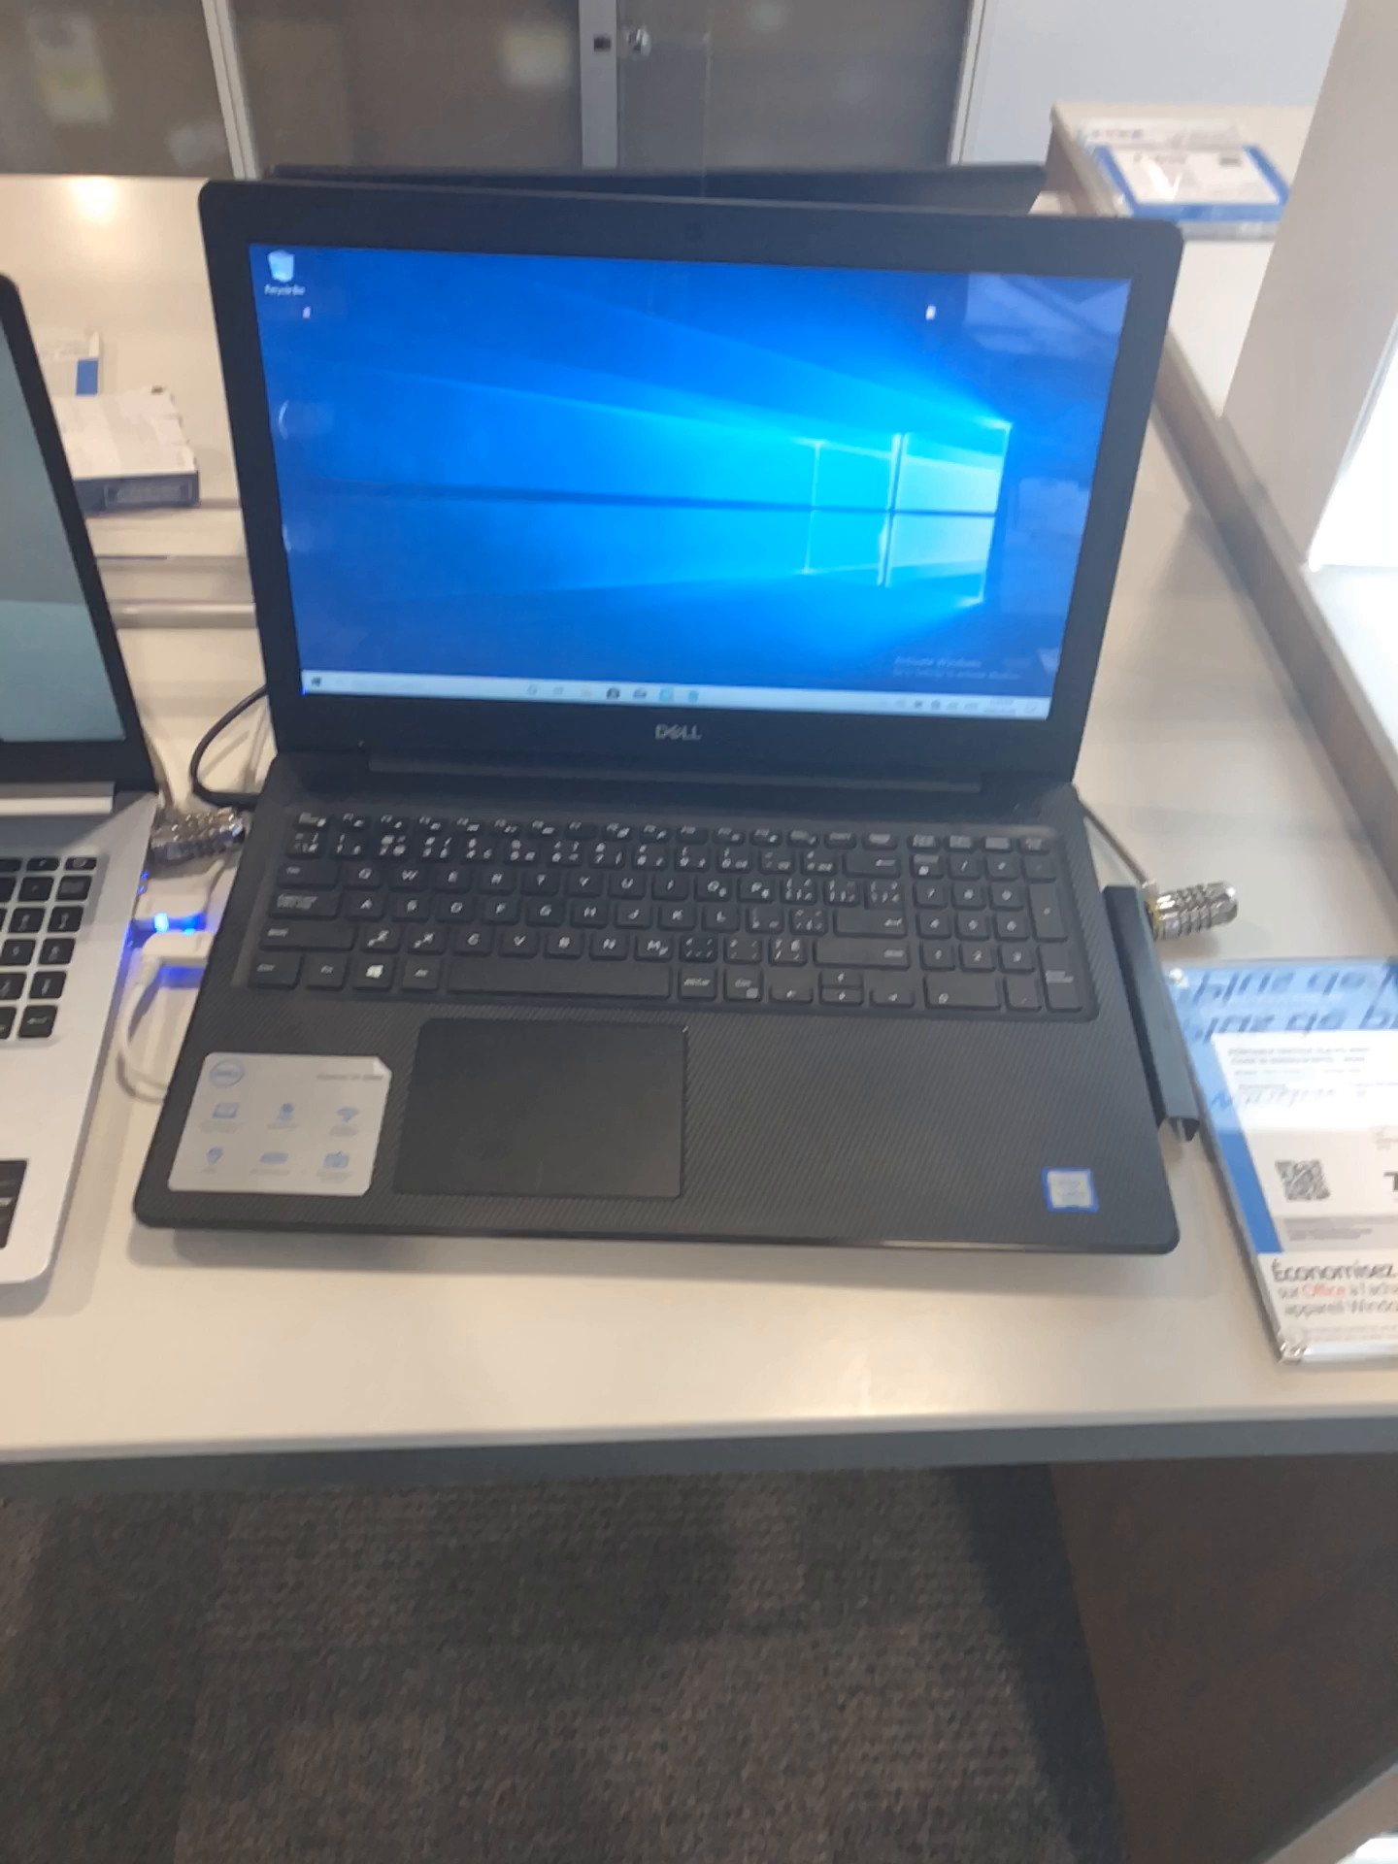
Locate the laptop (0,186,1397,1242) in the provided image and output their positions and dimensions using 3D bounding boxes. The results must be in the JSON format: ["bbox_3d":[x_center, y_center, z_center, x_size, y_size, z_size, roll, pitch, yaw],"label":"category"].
[{"bbox_3d":[-0.011,-0.087,0.572,0.368,0.230,0.311,2,47,-2],"label":"laptop"}]
